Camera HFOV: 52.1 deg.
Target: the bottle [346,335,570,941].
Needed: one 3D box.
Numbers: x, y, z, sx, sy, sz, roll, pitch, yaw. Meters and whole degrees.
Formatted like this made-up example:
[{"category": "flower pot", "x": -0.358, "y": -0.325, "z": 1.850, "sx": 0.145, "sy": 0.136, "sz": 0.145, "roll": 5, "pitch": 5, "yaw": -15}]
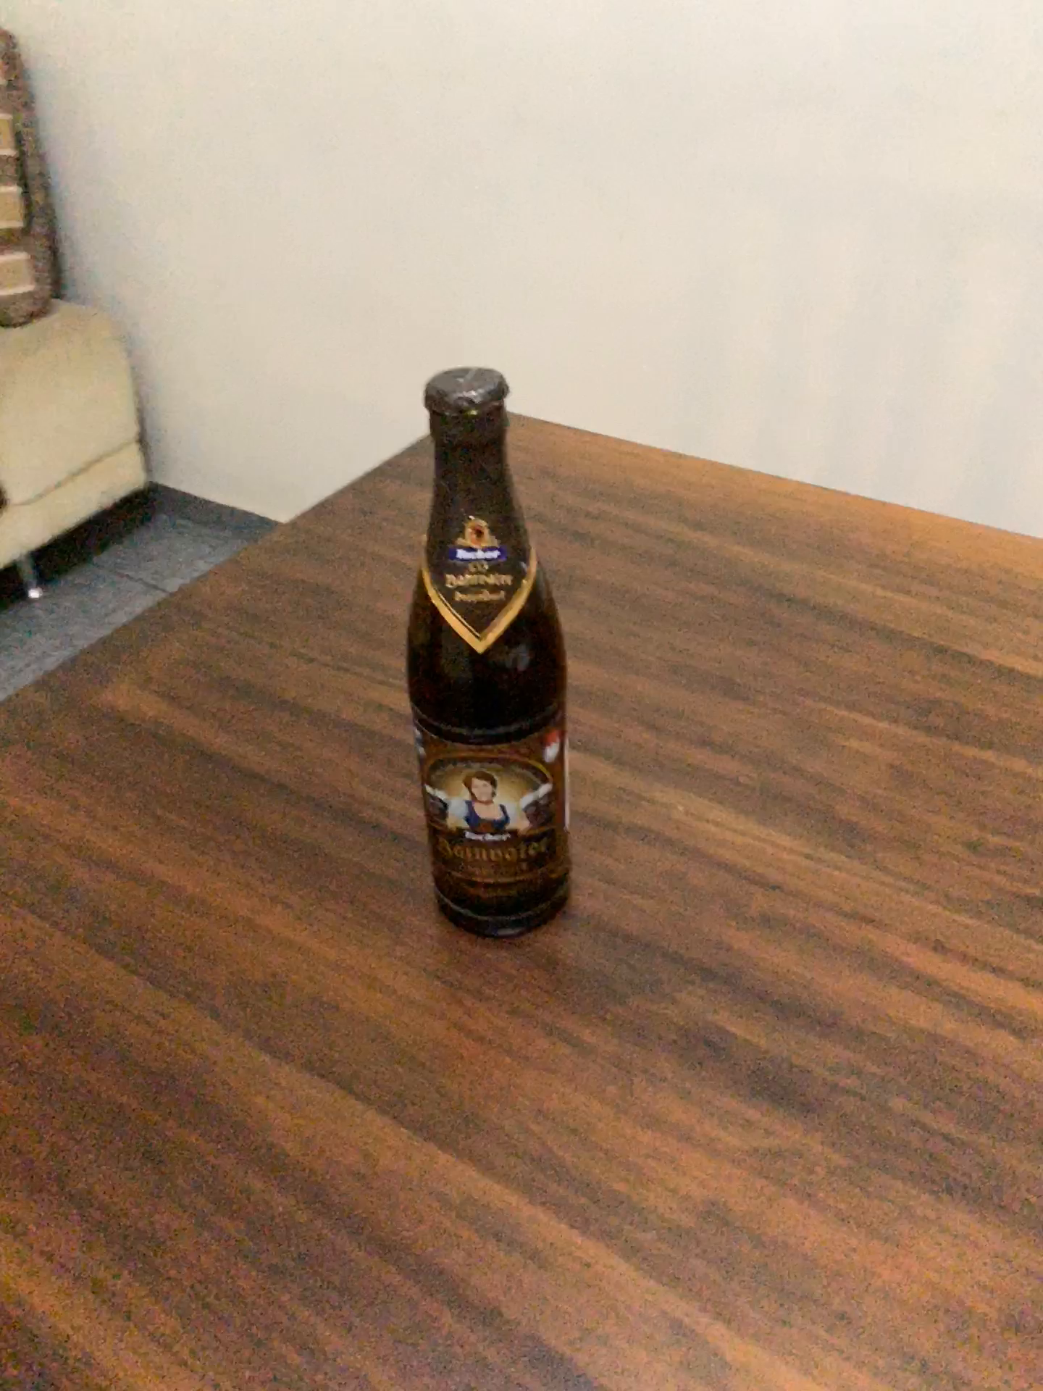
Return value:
[{"category": "bottle", "x": -0.016, "y": -0.008, "z": 0.453, "sx": 0.070, "sy": 0.268, "sz": 0.060, "roll": -1, "pitch": 37, "yaw": 3}]
